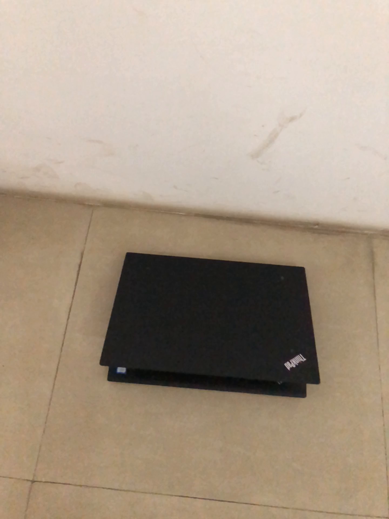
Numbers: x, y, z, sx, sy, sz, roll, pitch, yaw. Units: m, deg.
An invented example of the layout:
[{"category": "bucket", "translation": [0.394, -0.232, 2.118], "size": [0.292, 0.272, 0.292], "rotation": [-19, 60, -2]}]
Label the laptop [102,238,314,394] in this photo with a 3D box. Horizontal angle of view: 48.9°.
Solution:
[{"category": "laptop", "translation": [0.029, 0.101, 0.775], "size": [0.349, 0.071, 0.236], "rotation": [5, 70, 1]}]
